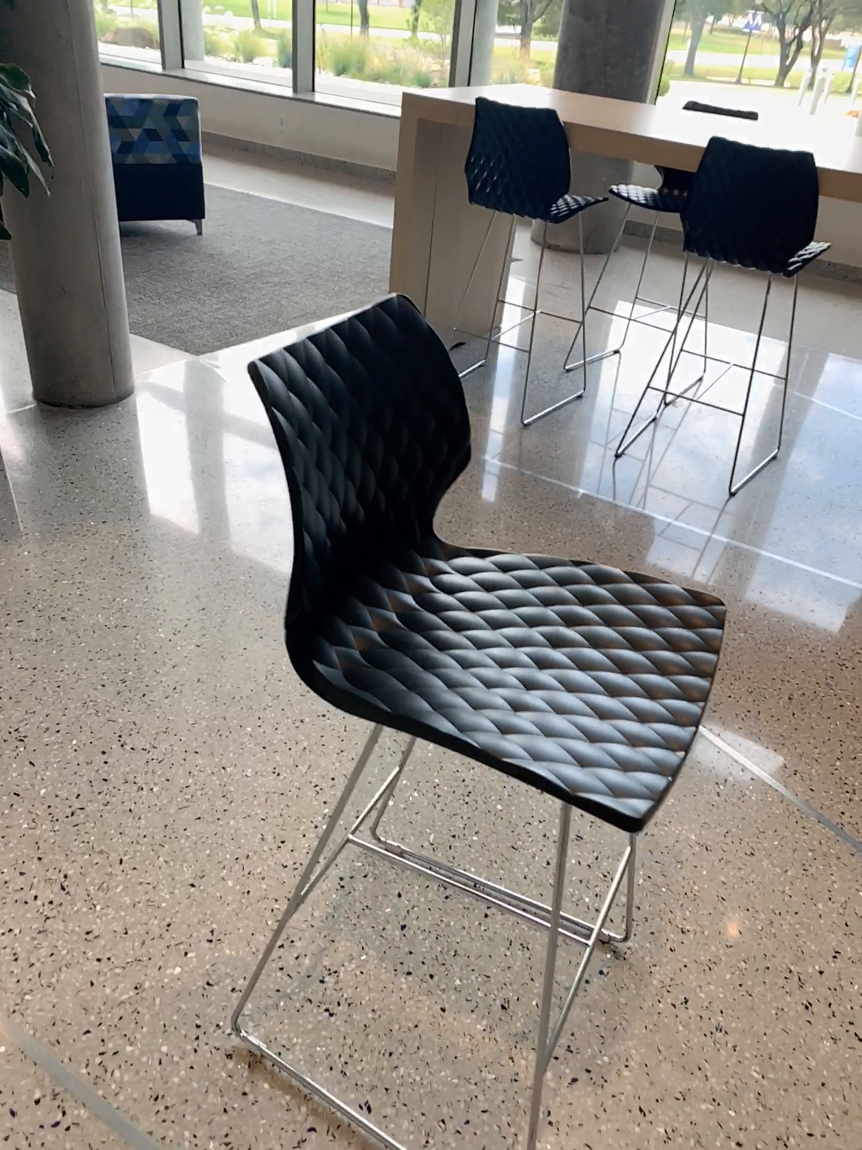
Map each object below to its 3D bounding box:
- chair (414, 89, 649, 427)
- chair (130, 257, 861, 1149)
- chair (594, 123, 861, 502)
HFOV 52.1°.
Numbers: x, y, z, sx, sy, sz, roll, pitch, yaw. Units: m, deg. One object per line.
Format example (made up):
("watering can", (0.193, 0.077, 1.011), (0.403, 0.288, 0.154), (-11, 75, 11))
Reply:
("chair", (0.353, -1.203, 3.332), (0.532, 1.048, 0.550), (25, 38, 27))
("chair", (0.063, 0.230, 1.142), (0.547, 1.048, 0.535), (20, 35, 21))
("chair", (1.010, -0.896, 2.989), (0.532, 1.048, 0.550), (25, 38, 27))
